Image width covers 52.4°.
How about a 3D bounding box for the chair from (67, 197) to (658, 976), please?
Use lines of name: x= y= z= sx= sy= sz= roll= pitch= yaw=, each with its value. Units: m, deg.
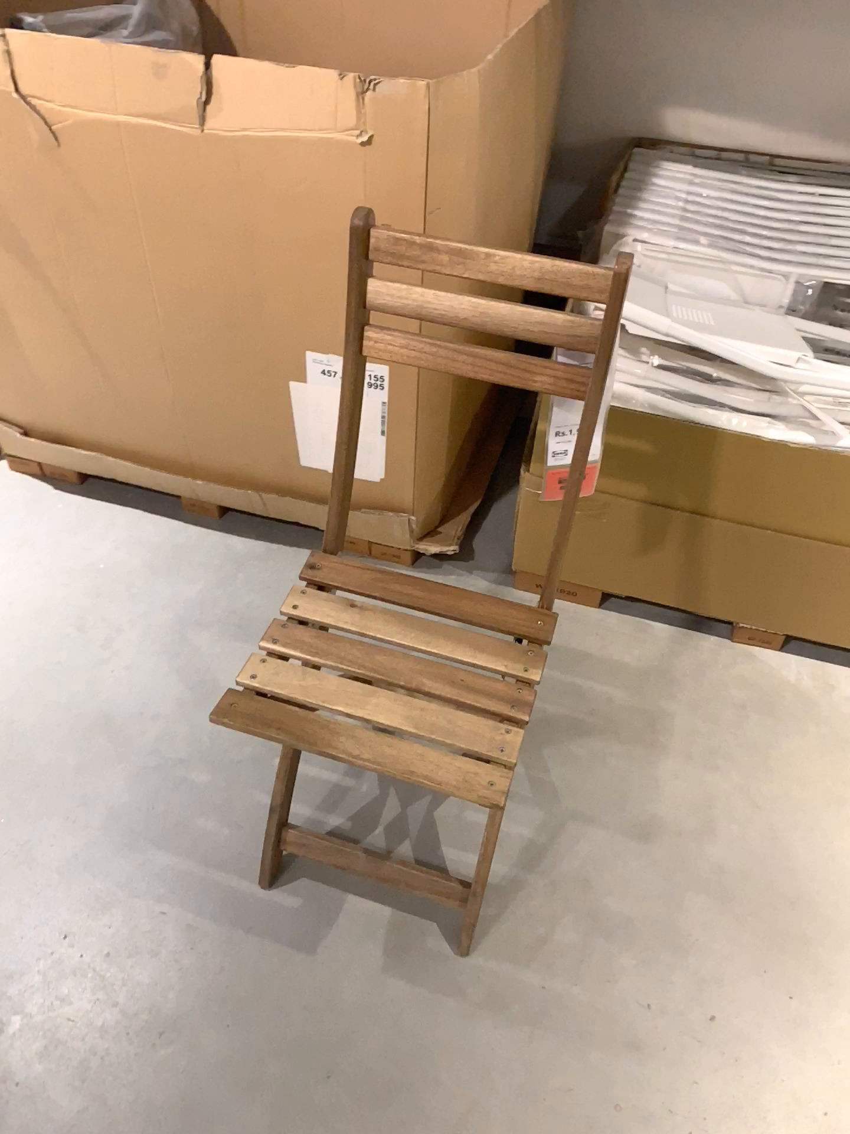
chair: x=-0.024 y=0.052 z=1.081 sx=0.400 sy=0.767 sz=0.512 roll=14 pitch=46 yaw=11
